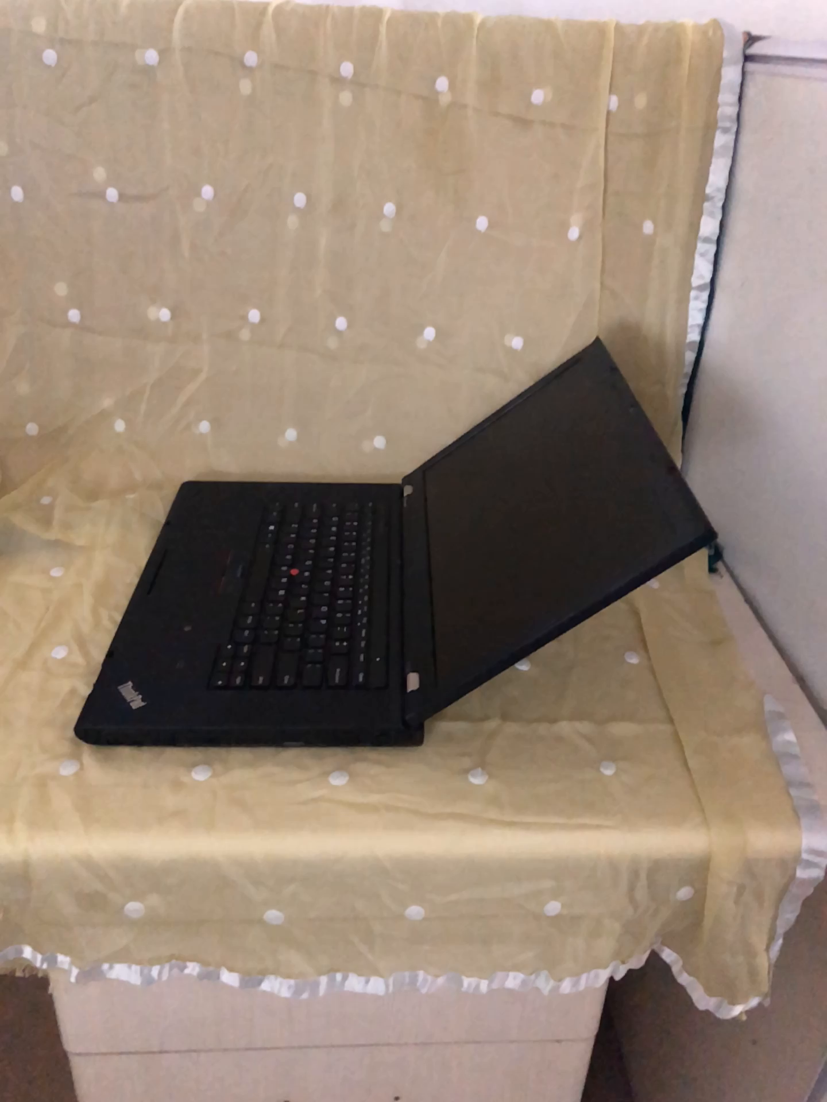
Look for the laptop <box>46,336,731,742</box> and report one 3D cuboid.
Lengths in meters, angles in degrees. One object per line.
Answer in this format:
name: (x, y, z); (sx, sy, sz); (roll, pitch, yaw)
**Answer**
laptop: (-0.023, -0.034, 0.748); (0.424, 0.156, 0.349); (-2, 31, 0)
